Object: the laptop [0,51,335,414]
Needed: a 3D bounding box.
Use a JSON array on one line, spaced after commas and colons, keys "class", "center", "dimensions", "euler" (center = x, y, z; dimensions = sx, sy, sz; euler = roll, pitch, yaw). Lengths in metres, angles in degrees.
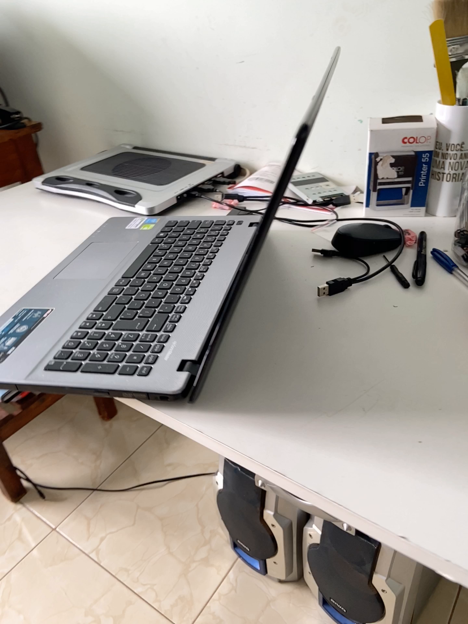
[{"class": "laptop", "center": [-0.086, -0.123, 0.514], "dimensions": [0.356, 0.213, 0.378], "euler": [3, 34, 14]}]
